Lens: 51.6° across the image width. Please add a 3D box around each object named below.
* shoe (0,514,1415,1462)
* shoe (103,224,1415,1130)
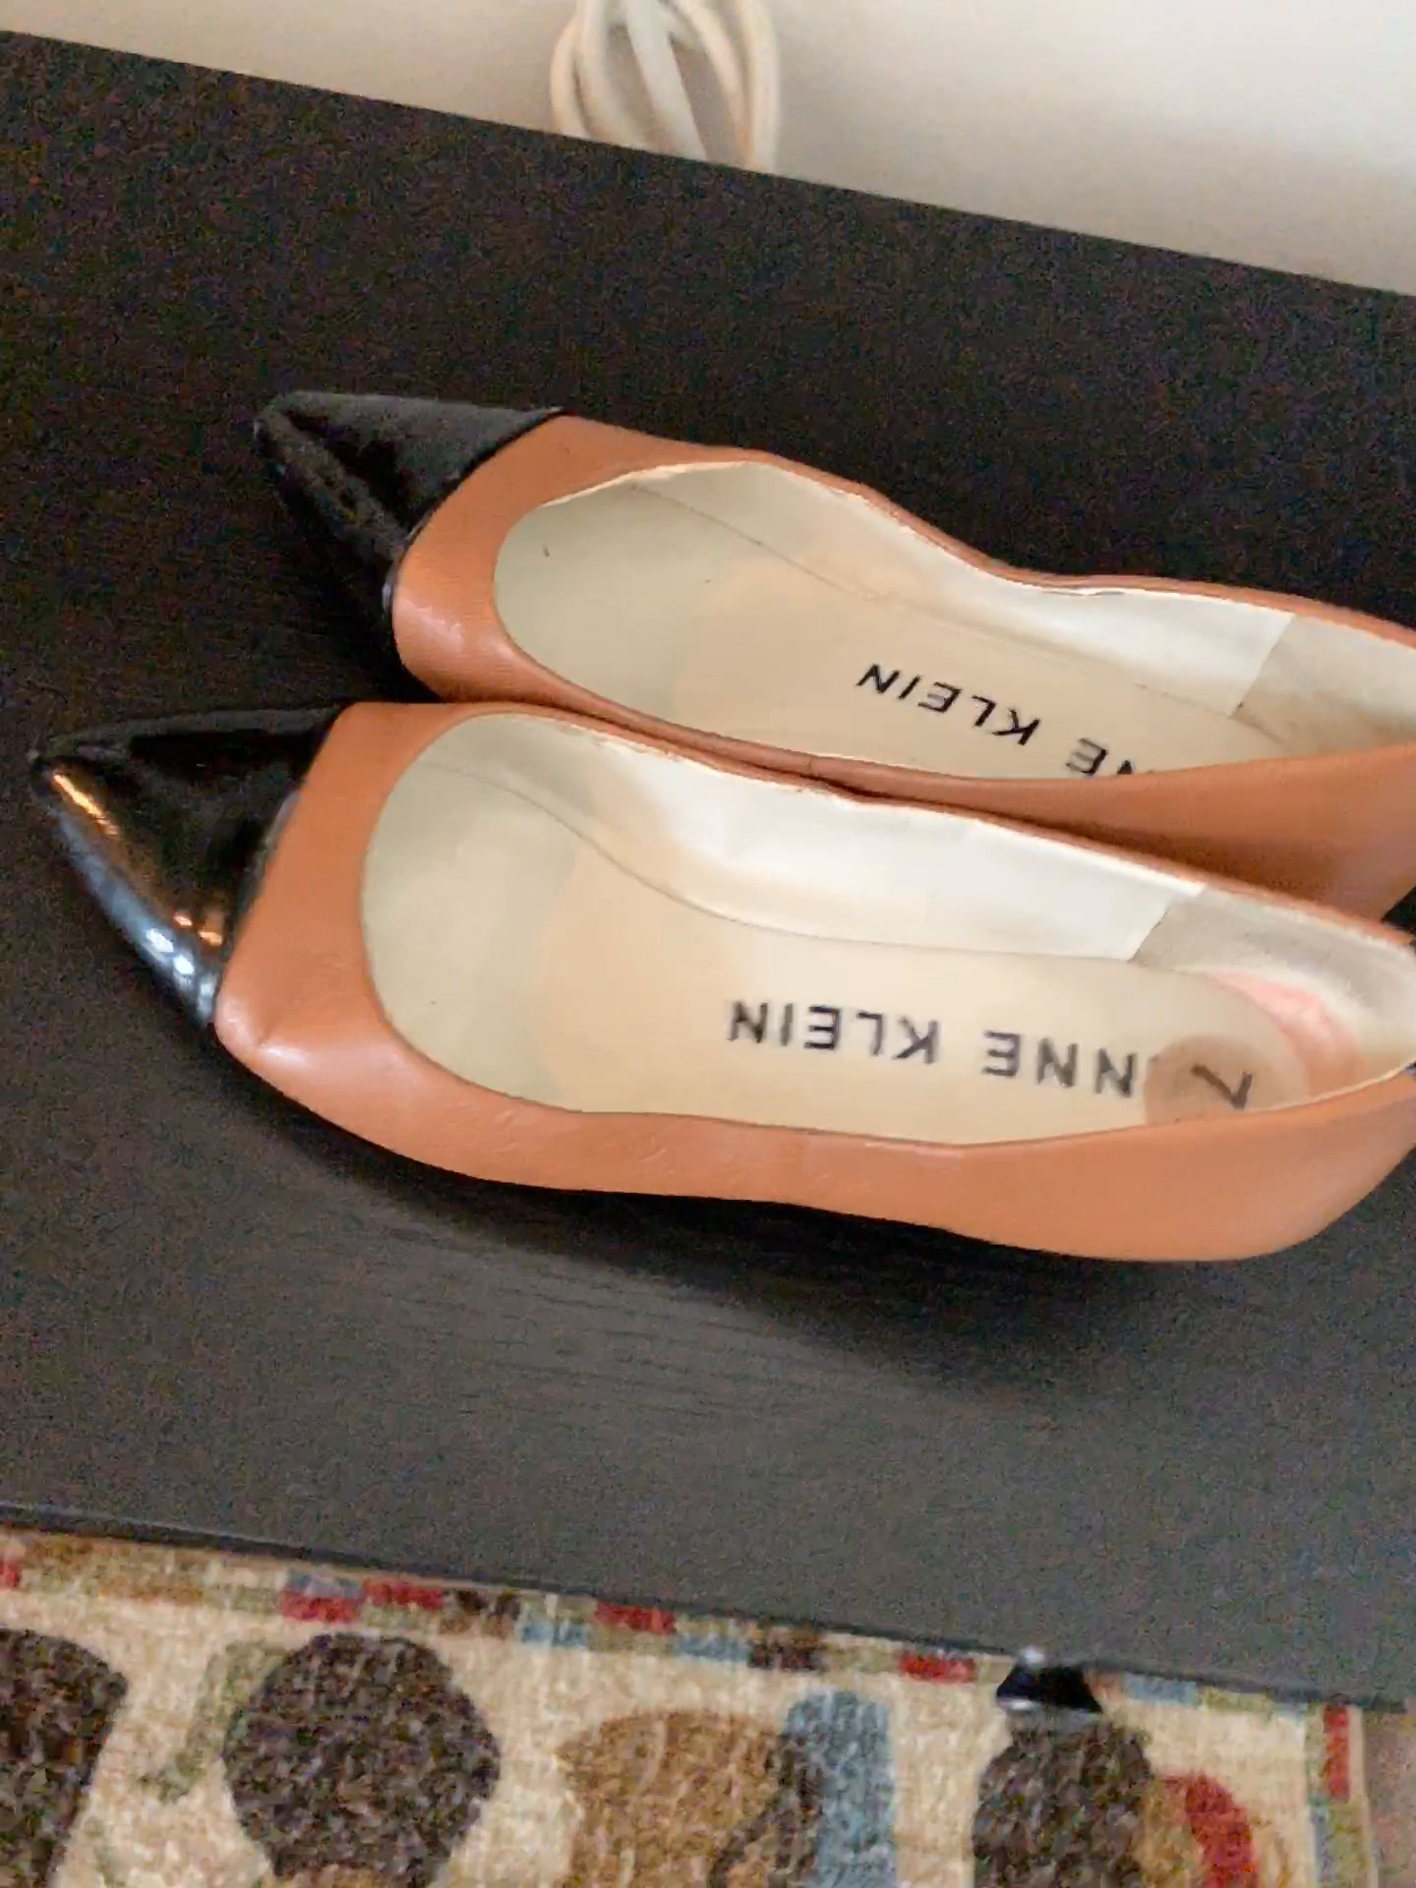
[{"bbox_3d":[-0.010,0.000,0.272,0.260,0.080,0.091,14,62,17],"label":"shoe"},{"bbox_3d":[0.018,-0.062,0.300,0.260,0.080,0.080,21,64,18],"label":"shoe"}]
